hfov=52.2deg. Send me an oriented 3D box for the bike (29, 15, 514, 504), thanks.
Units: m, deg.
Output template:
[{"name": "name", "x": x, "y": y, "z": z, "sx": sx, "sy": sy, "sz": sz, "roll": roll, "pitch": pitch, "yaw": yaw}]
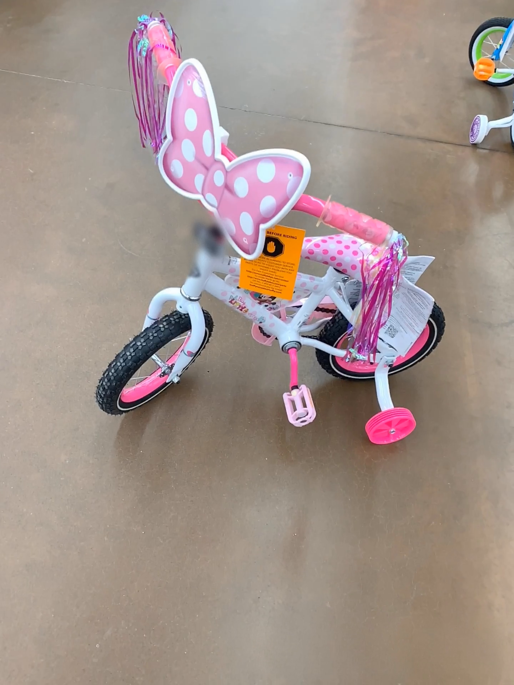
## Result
[{"name": "bike", "x": 0.048, "y": -0.140, "z": 0.988, "sx": 0.725, "sy": 0.648, "sz": 0.503, "roll": -10, "pitch": 51, "yaw": -12}]
